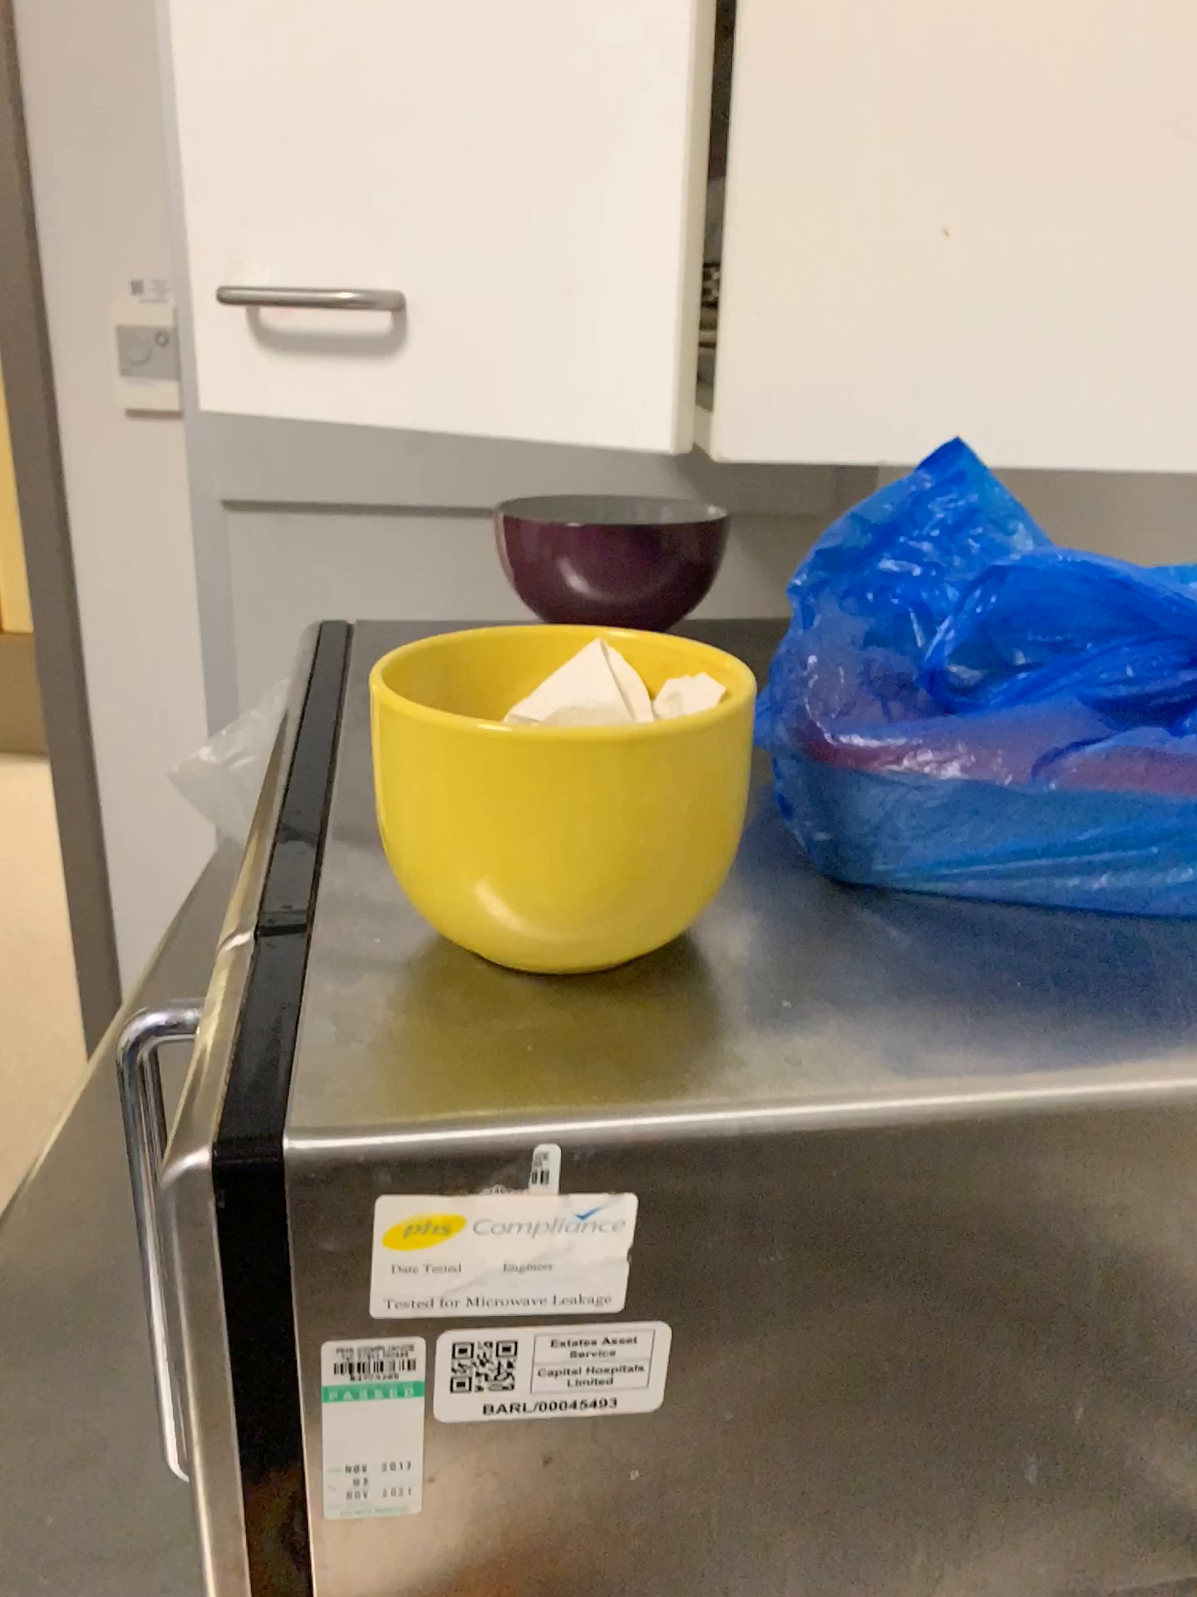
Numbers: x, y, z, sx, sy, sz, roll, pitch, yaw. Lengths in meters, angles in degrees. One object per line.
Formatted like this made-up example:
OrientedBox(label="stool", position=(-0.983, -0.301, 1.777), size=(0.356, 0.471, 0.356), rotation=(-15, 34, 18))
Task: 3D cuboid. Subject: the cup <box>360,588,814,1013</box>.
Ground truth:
OrientedBox(label="cup", position=(-0.015, -0.011, 0.396), size=(0.115, 0.082, 0.155), rotation=(-1, 21, -9))
